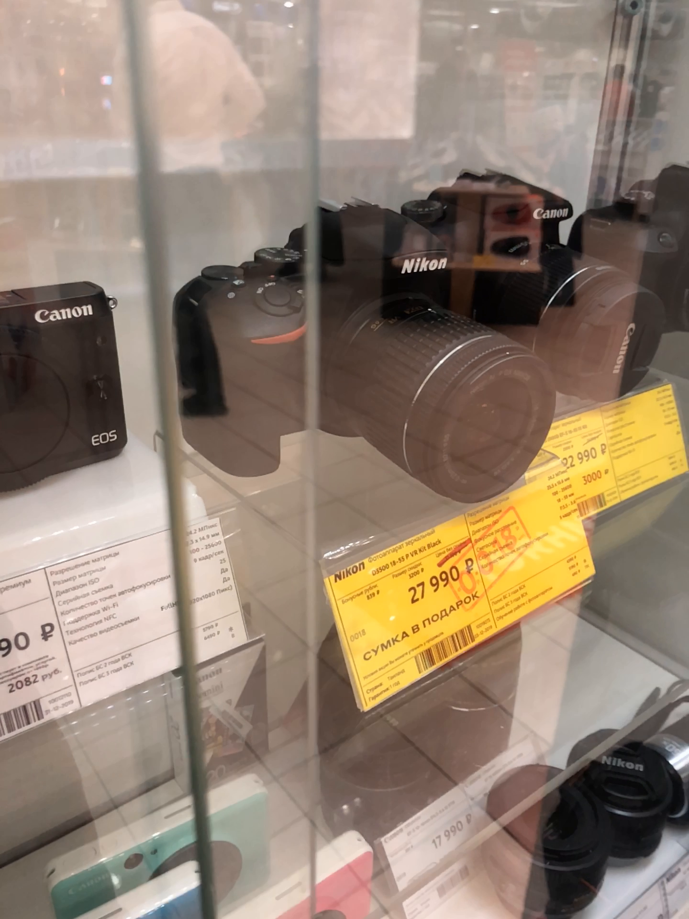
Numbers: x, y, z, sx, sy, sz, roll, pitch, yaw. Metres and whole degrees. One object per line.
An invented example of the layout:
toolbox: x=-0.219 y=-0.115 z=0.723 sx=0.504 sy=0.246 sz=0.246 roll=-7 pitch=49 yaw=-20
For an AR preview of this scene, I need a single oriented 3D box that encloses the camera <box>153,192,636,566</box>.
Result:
camera: x=0.015 y=-0.046 z=0.299 sx=0.130 sy=0.092 sz=0.120 roll=-17 pitch=31 yaw=-33
